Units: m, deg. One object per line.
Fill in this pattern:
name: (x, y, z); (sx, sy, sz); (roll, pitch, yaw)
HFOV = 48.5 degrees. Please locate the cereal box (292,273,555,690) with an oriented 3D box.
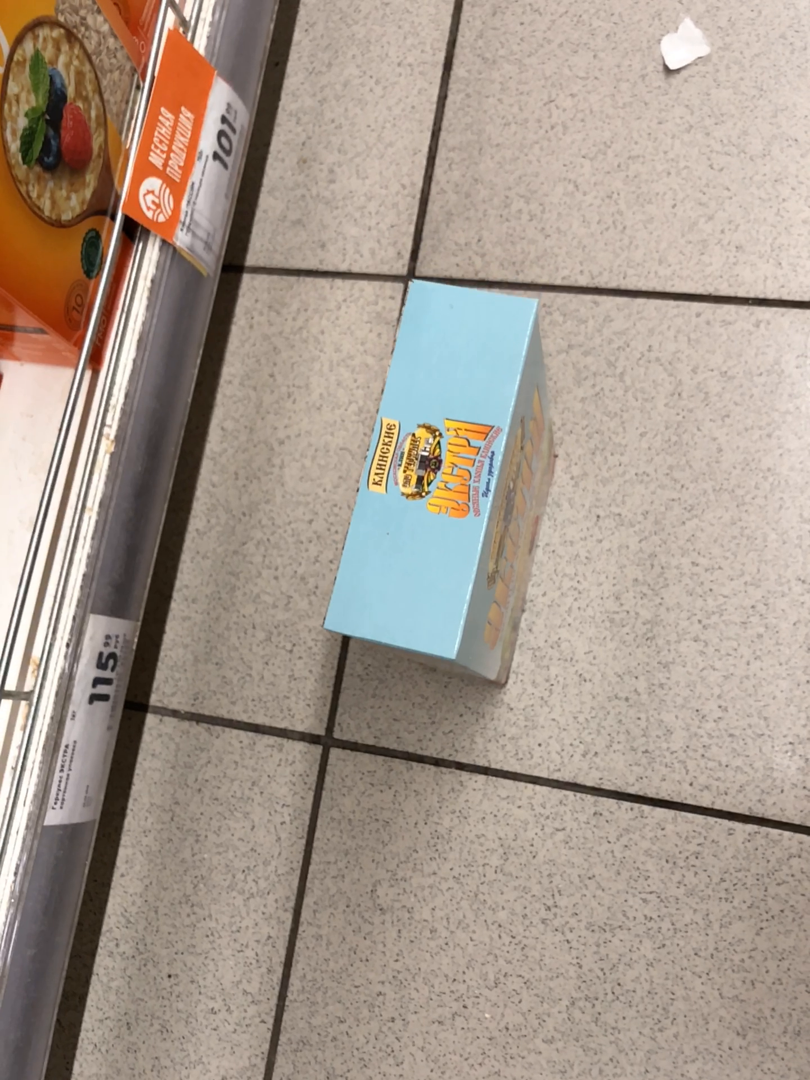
cereal box: (0.025, -0.010, 0.446); (0.060, 0.210, 0.150); (12, 82, 14)
